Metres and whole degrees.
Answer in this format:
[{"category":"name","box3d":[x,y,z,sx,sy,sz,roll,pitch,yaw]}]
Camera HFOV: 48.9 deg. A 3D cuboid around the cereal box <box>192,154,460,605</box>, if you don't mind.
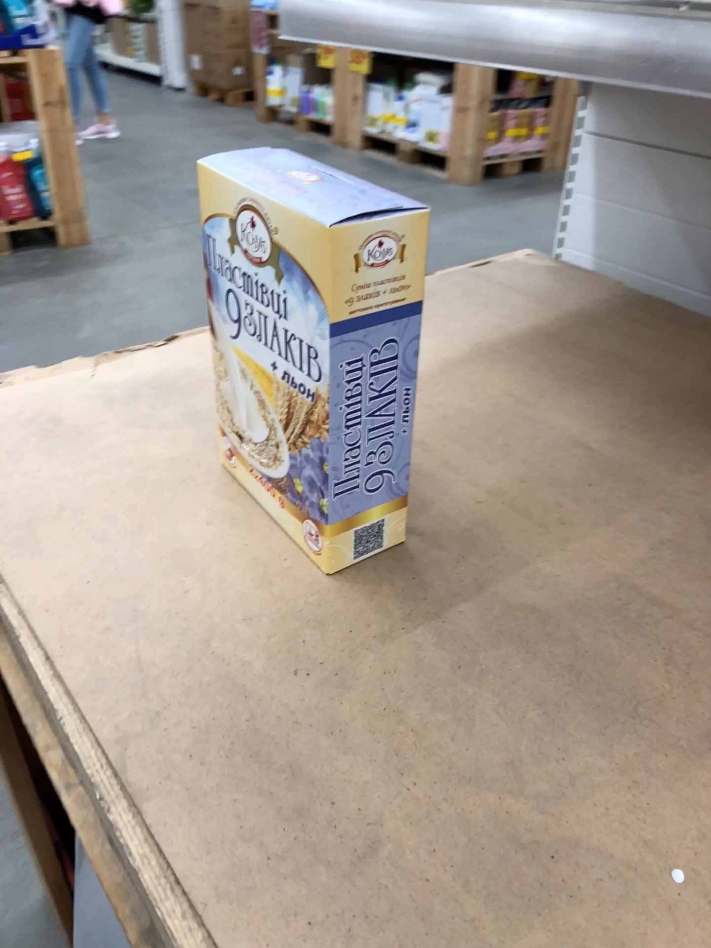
[{"category":"cereal box","box3d":[-0.028,-0.067,0.522,0.070,0.238,0.181,-19,39,-29]}]
